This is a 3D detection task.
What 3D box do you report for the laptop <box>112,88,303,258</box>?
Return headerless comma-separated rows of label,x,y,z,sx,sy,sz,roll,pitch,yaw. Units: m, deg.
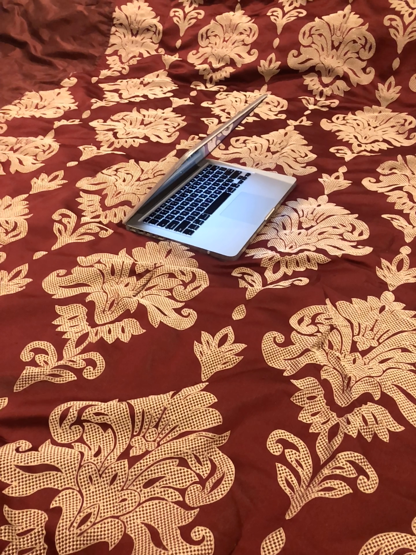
laptop,0.016,-0.209,0.830,0.212,0.156,0.313,17,41,21
